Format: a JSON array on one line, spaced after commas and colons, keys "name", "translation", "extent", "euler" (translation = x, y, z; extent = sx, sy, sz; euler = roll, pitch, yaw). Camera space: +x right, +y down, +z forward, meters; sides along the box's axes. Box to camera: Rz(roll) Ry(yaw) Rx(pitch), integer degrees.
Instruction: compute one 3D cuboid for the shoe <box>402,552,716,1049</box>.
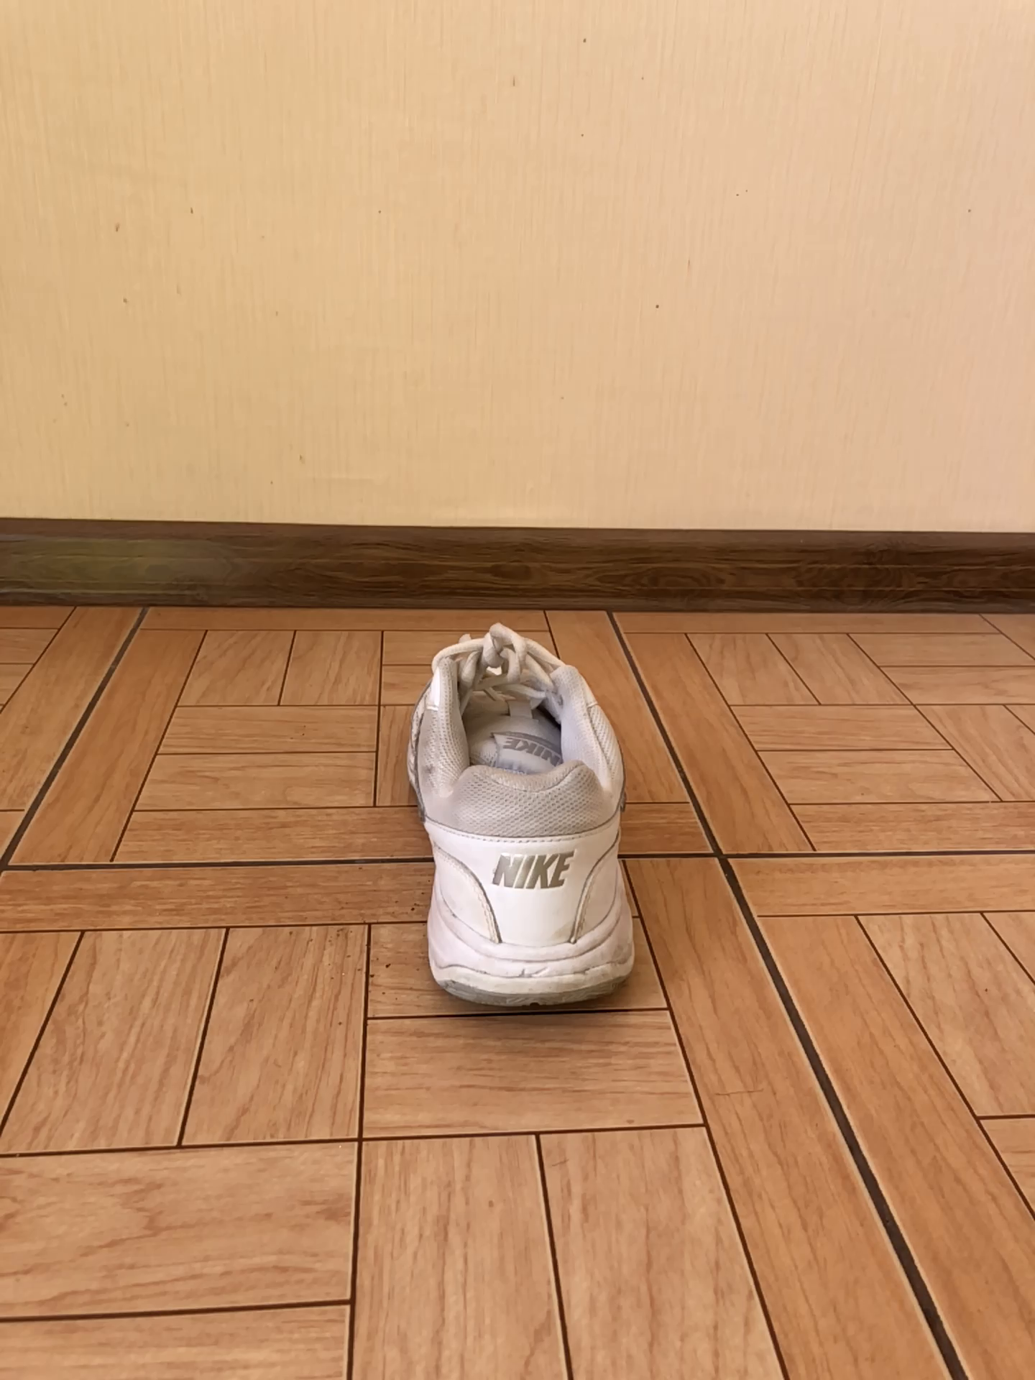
[{"name": "shoe", "translation": [0.000, 0.028, 0.513], "extent": [0.100, 0.100, 0.261], "euler": [0, 25, -7]}]
